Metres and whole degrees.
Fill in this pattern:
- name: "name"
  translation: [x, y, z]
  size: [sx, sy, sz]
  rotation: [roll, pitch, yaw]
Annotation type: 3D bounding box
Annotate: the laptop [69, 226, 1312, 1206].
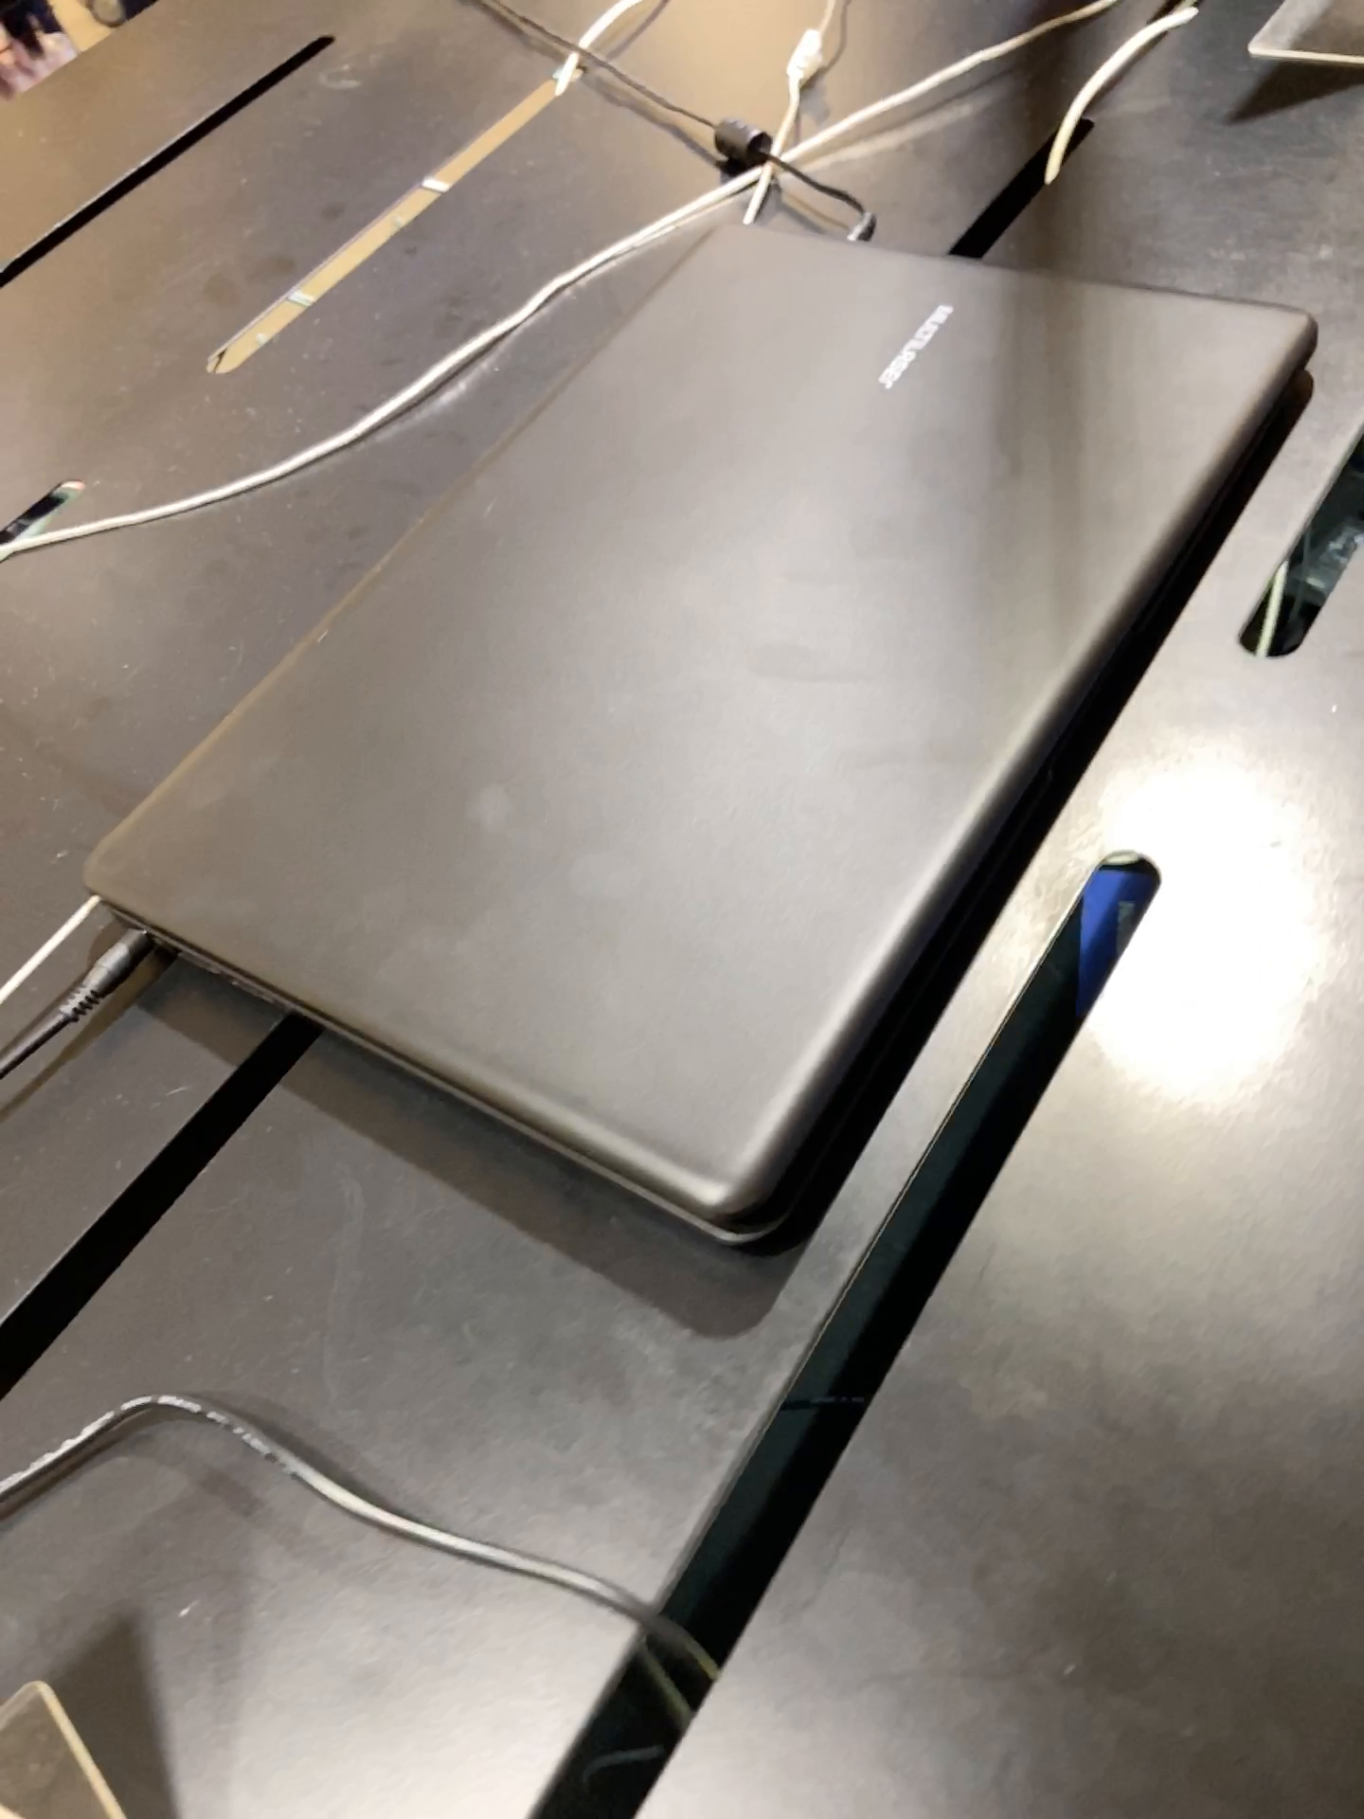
- name: "laptop"
  translation: [0.012, -0.096, 0.391]
  size: [0.211, 0.001, 0.325]
  rotation: [22, 60, 27]
